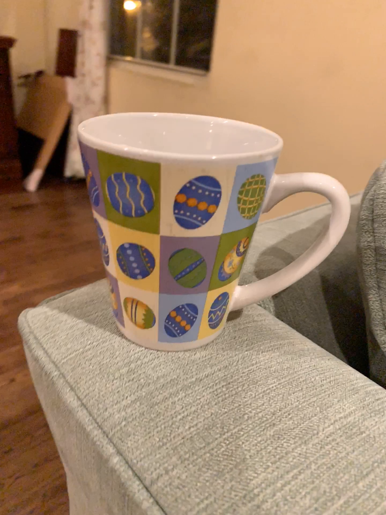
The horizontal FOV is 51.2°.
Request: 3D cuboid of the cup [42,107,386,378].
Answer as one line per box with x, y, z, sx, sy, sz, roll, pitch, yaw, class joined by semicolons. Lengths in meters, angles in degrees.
0.010;-0.015;0.195;0.122;0.087;0.096;5;27;1;cup
